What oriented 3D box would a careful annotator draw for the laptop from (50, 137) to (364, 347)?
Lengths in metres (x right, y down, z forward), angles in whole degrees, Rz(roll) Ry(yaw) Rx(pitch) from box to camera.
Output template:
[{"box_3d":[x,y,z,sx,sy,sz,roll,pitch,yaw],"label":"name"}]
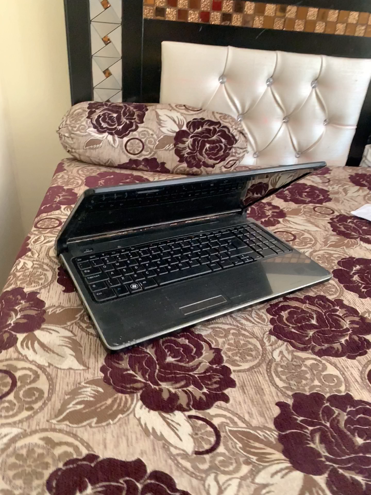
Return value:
[{"box_3d":[0.025,-0.042,0.555,0.364,0.154,0.221,-13,36,-27],"label":"laptop"}]
